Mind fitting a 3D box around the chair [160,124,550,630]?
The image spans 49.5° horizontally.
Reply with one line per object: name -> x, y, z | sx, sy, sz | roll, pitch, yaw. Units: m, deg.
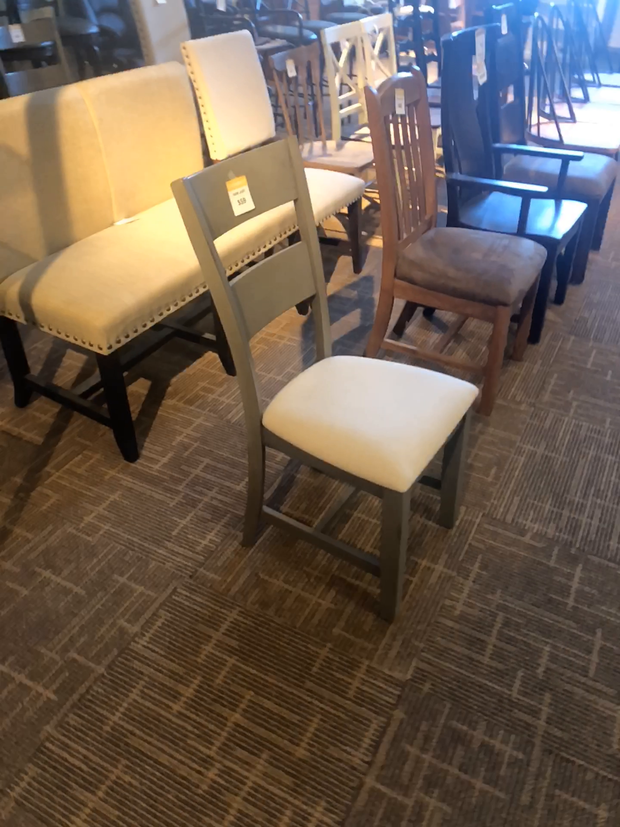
chair -> 0.086, -0.090, 1.614 | 0.630, 0.965, 0.462 | 21, 40, 24
